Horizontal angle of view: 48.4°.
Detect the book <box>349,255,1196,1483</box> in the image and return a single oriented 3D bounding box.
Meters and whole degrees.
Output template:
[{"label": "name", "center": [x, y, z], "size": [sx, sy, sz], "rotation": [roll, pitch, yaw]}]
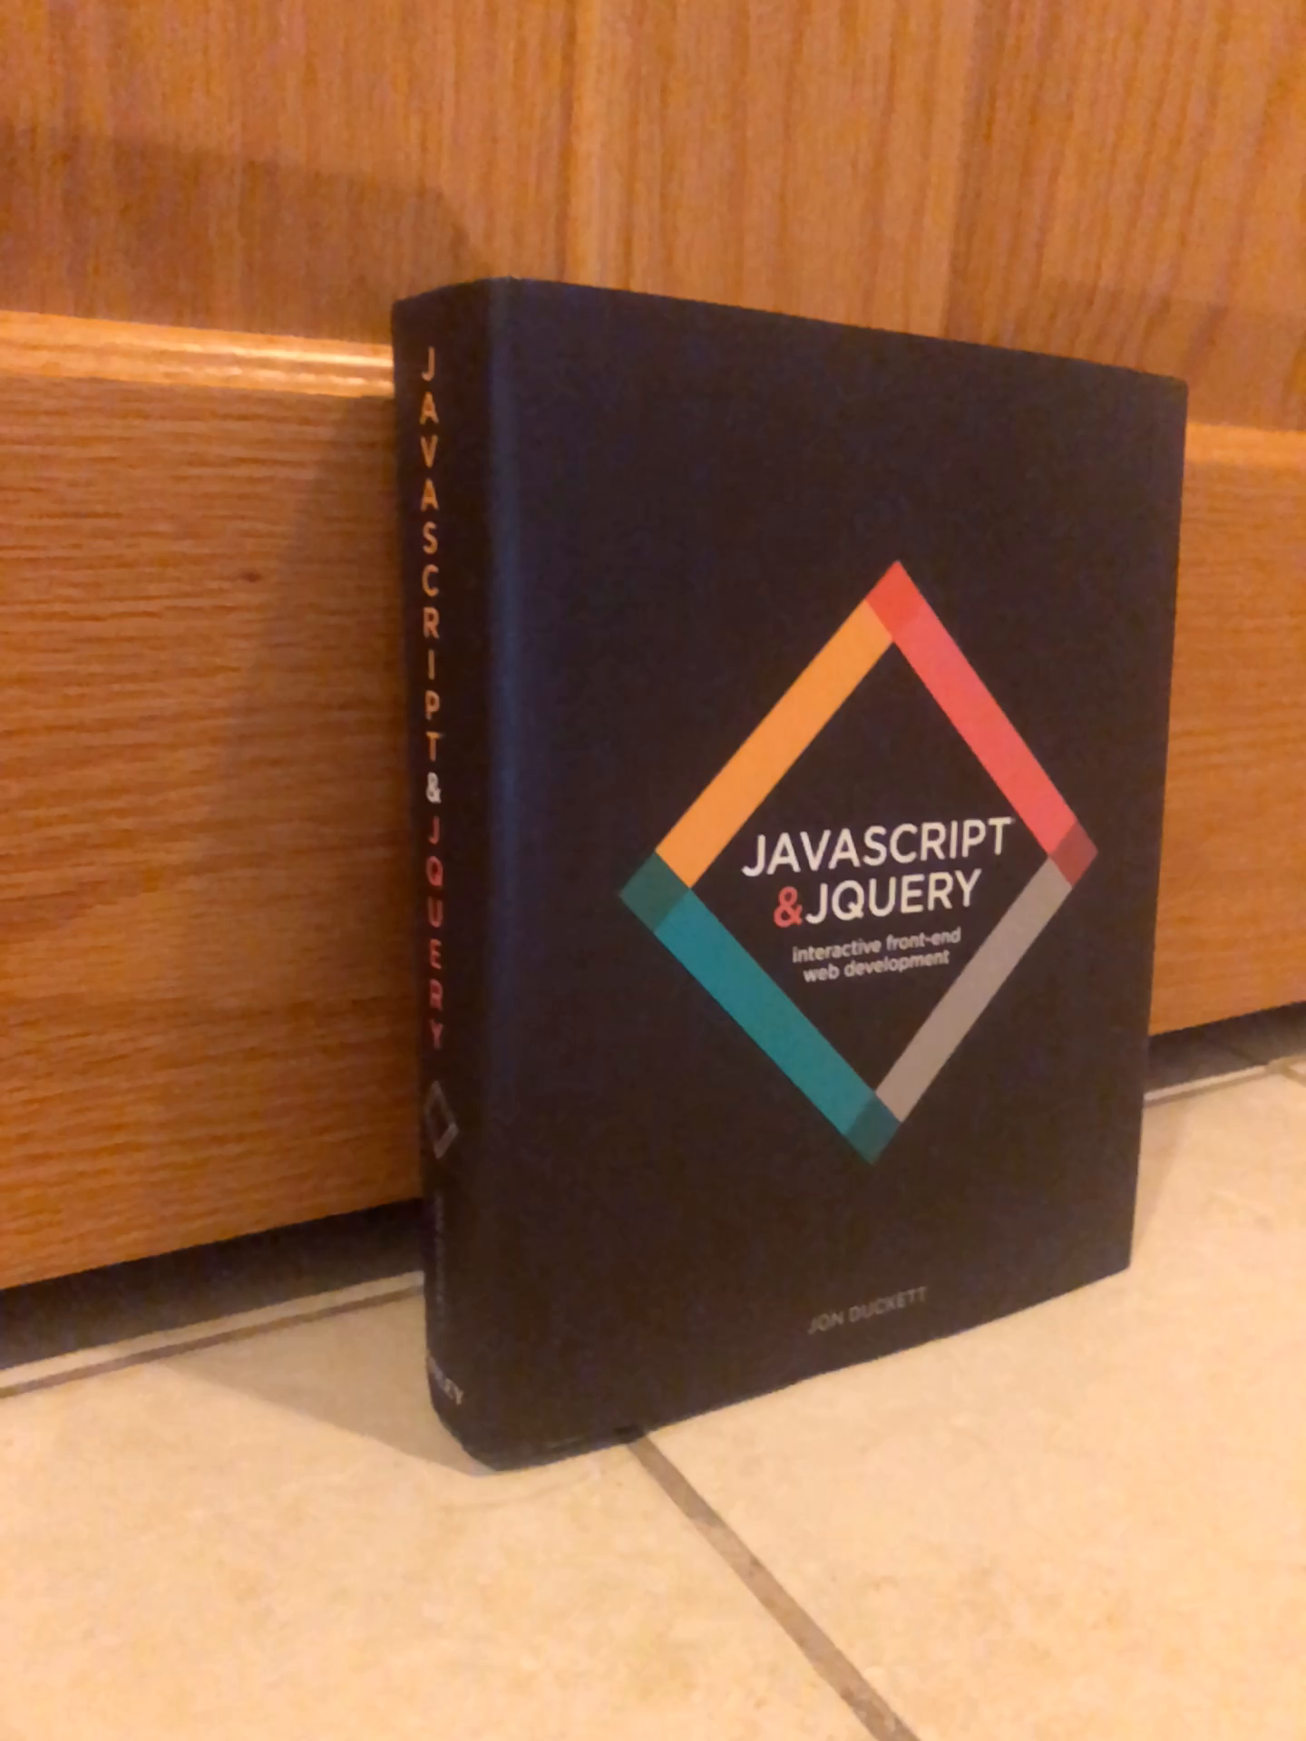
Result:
[{"label": "book", "center": [0.037, -0.006, 0.355], "size": [0.201, 0.238, 0.060], "rotation": [-5, 9, -31]}]
